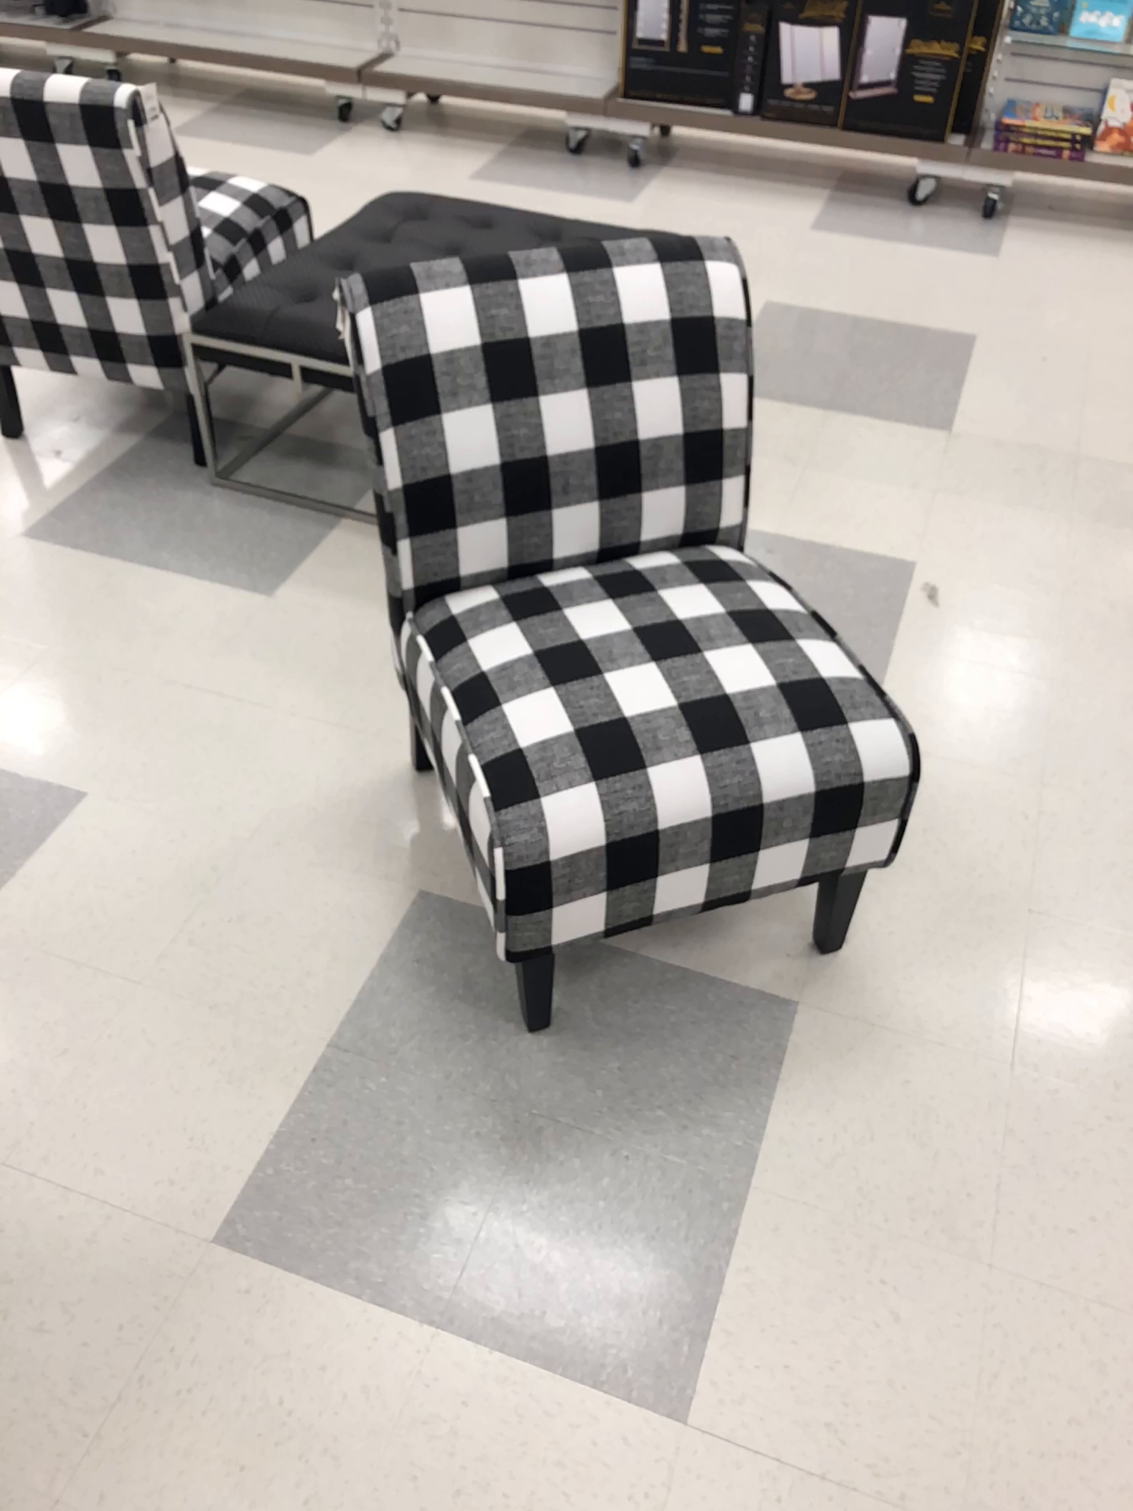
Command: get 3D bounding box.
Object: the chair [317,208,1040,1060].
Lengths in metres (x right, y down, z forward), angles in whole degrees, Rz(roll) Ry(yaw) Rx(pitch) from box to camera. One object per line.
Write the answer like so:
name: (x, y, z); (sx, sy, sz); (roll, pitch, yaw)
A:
chair: (0.077, -0.183, 1.742); (0.625, 0.832, 0.702); (-12, 44, -15)

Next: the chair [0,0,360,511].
chair: (-0.946, -1.149, 2.770); (0.624, 0.832, 0.733); (15, 44, 14)
